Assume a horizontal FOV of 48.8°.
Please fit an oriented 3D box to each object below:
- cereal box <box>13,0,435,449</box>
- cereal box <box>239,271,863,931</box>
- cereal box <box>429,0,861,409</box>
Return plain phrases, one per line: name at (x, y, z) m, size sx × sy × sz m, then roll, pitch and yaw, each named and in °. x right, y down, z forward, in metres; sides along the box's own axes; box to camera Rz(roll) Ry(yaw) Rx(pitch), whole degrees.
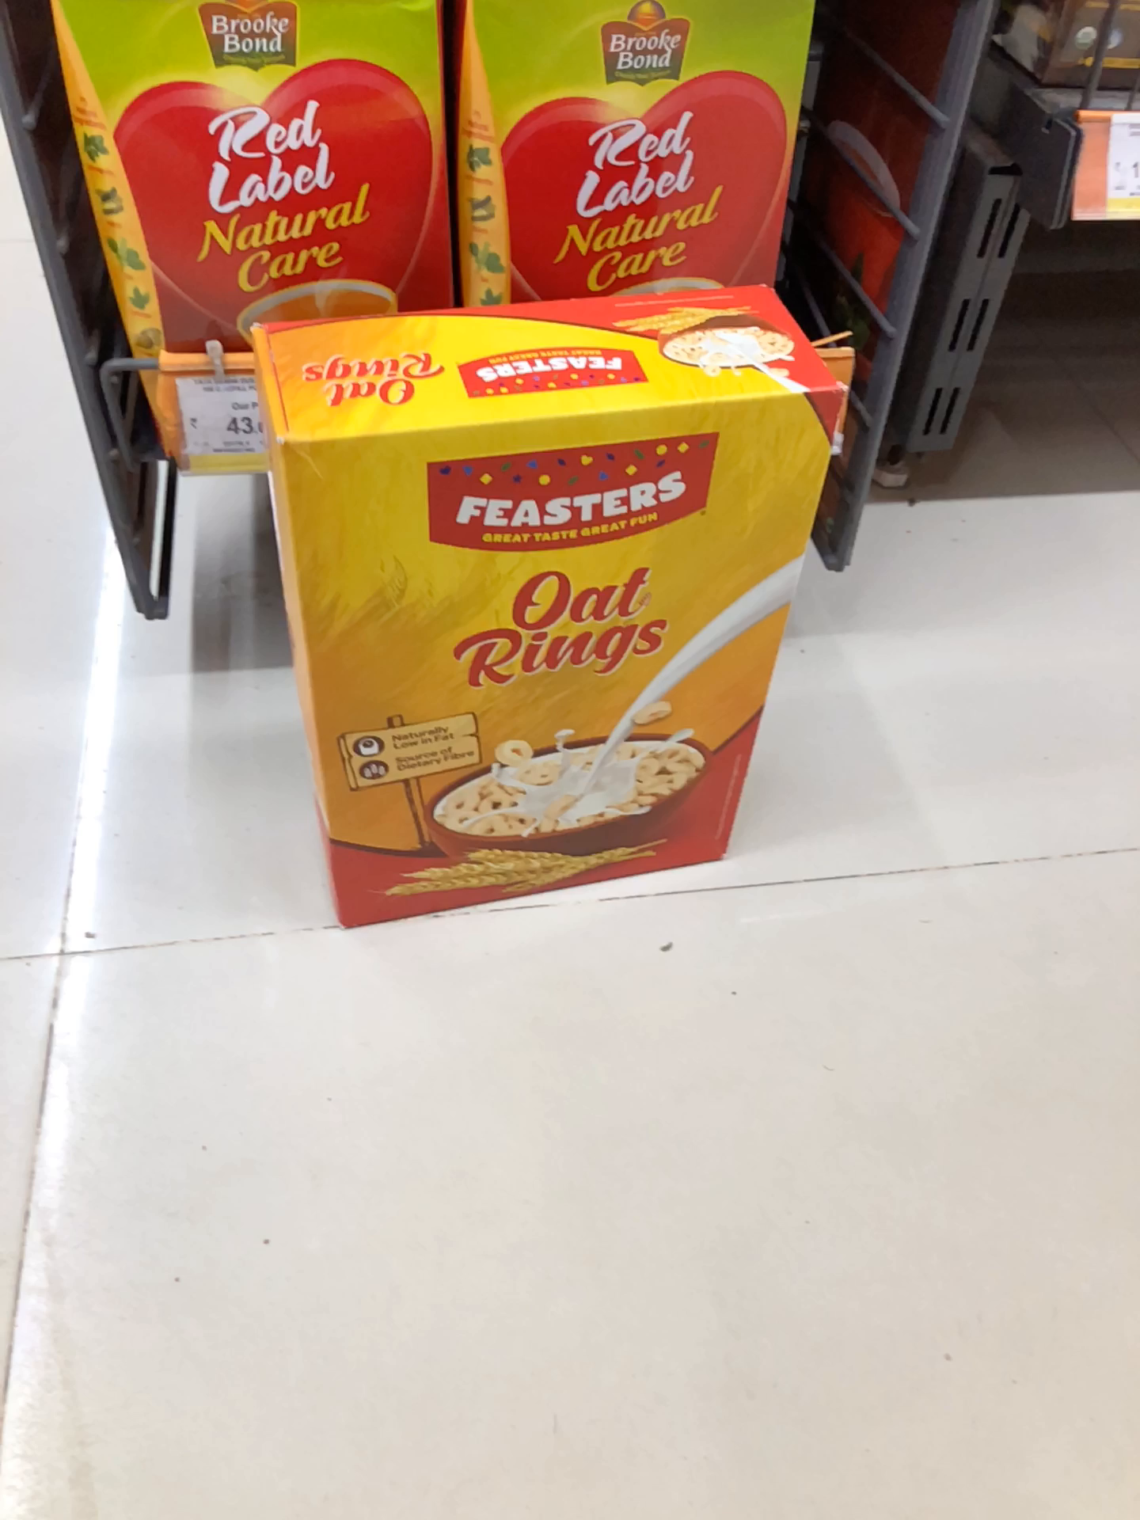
cereal box at (-0.115, -0.213, 0.462) m, size 0.120 × 0.169 × 0.080 m, roll -6°, pitch 48°, yaw -10°
cereal box at (-0.014, -0.047, 0.446) m, size 0.170 × 0.219 × 0.070 m, roll -9°, pitch 49°, yaw -13°
cereal box at (0.017, -0.221, 0.458) m, size 0.120 × 0.149 × 0.080 m, roll -9°, pitch 49°, yaw -14°
